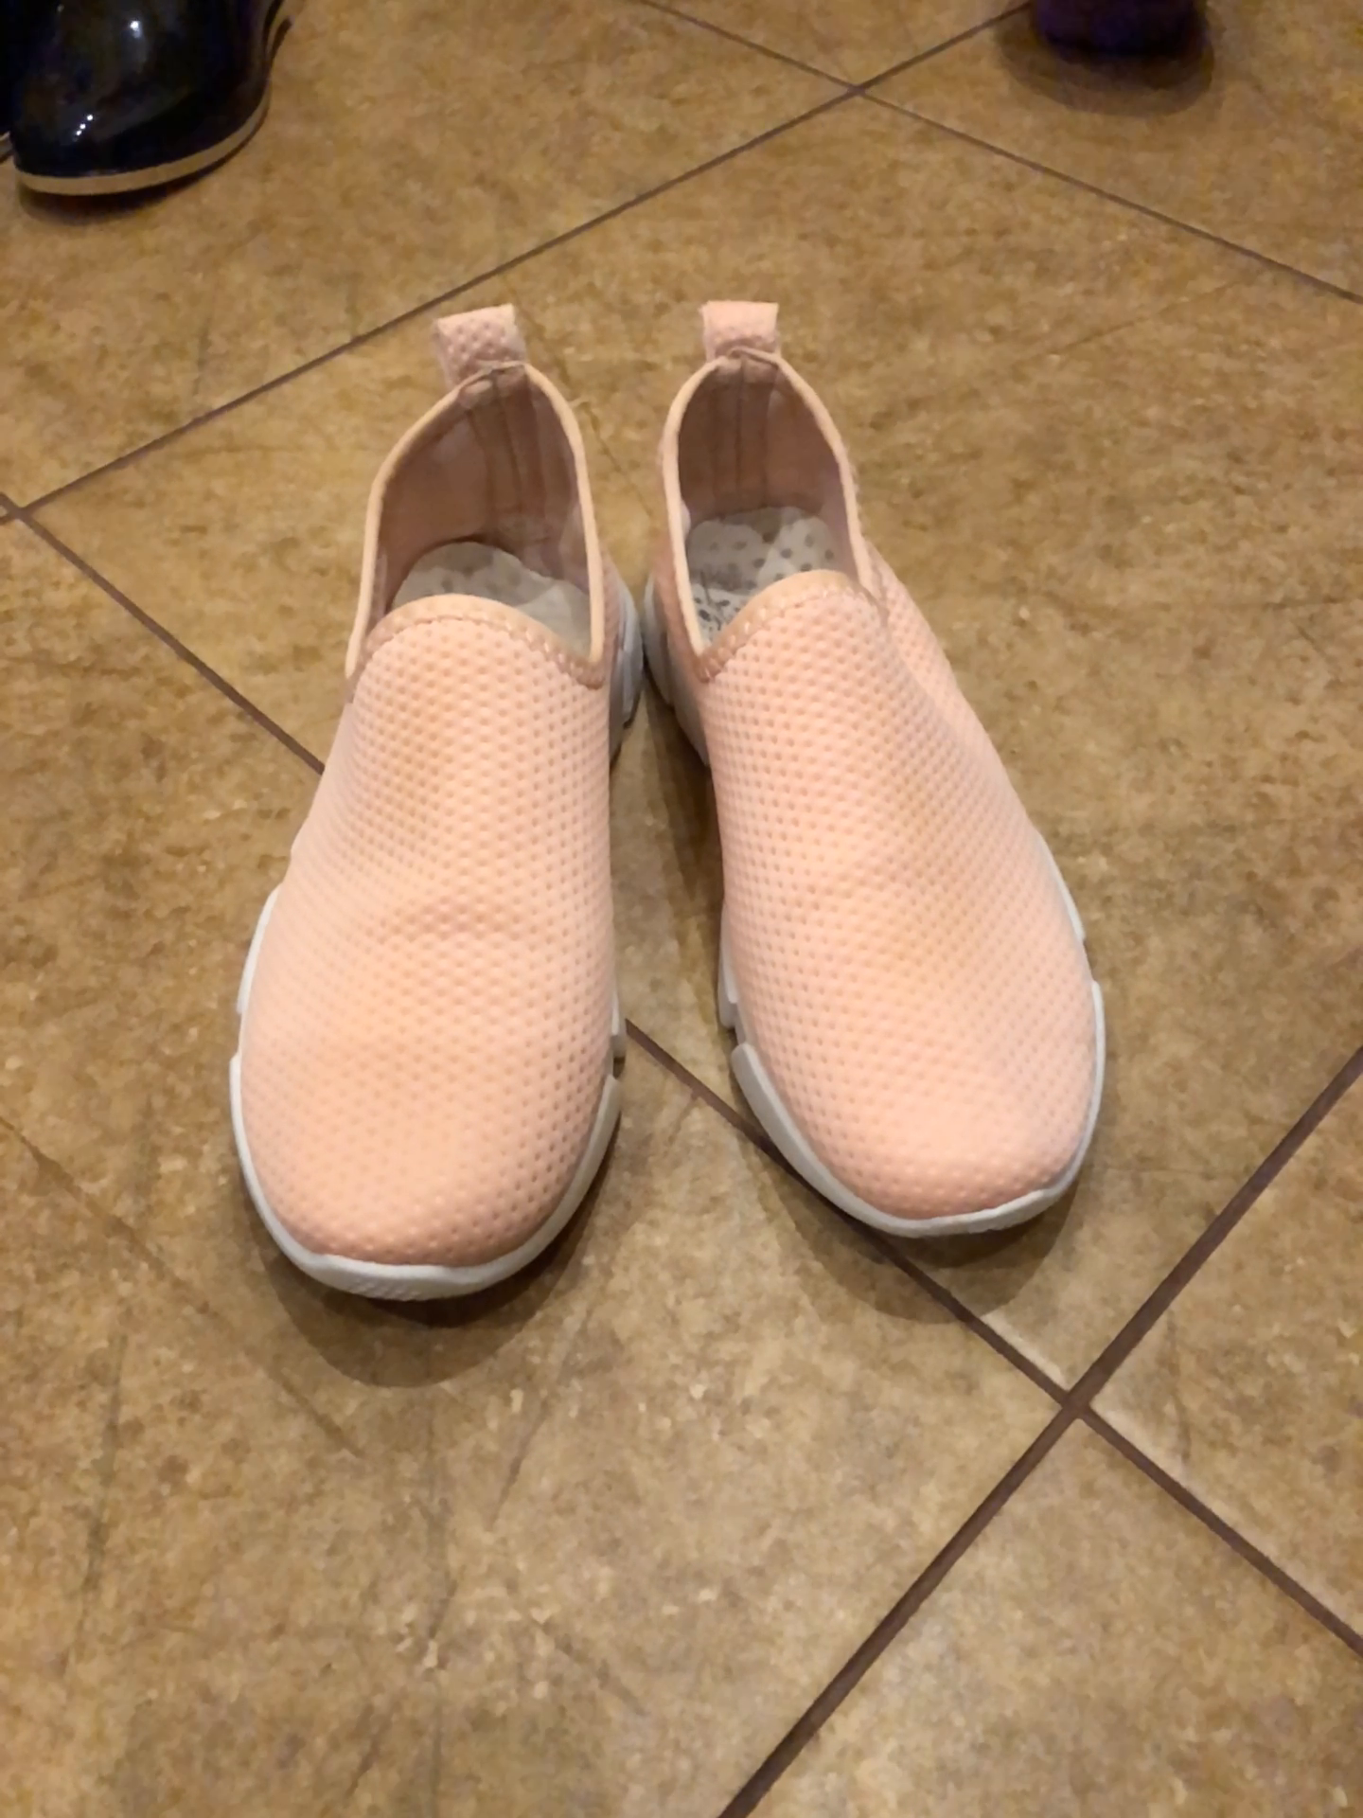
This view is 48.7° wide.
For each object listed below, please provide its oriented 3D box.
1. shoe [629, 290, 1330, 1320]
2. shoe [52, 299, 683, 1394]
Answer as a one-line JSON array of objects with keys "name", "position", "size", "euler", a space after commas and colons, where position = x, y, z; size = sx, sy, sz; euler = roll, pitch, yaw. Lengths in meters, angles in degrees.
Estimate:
[{"name": "shoe", "position": [0.048, -0.037, 0.360], "size": [0.090, 0.099, 0.231], "euler": [-7, 52, -5]}, {"name": "shoe", "position": [-0.050, -0.026, 0.362], "size": [0.090, 0.119, 0.241], "euler": [2, 51, 2]}]
